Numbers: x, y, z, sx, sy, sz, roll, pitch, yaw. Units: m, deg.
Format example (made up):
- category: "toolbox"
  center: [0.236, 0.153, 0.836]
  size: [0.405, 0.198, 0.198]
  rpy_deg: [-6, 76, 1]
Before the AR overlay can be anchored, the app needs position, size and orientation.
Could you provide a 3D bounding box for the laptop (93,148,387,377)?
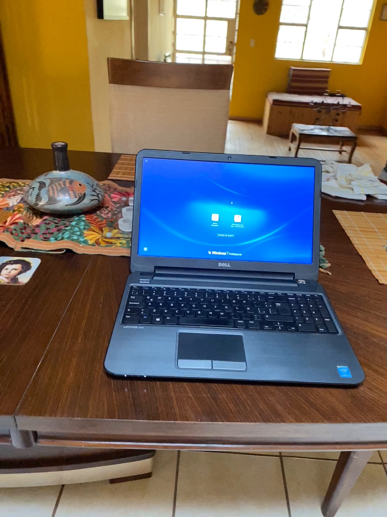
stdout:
- category: "laptop"
  center: [0.060, -0.027, 0.682]
  size: [0.367, 0.194, 0.397]
  rpy_deg: [3, 31, -2]
